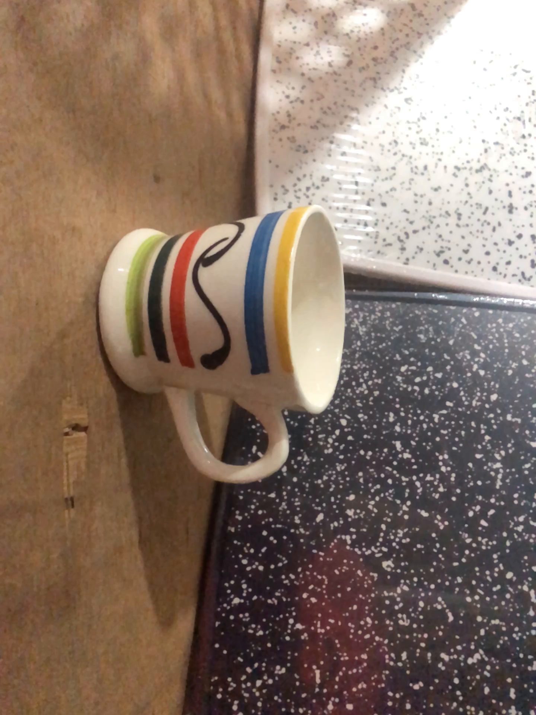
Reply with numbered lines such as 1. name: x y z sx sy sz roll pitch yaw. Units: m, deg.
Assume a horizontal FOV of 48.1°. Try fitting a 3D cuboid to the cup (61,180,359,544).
1. cup: -0.016 0.002 0.207 0.060 0.079 0.100 9 82 -69
